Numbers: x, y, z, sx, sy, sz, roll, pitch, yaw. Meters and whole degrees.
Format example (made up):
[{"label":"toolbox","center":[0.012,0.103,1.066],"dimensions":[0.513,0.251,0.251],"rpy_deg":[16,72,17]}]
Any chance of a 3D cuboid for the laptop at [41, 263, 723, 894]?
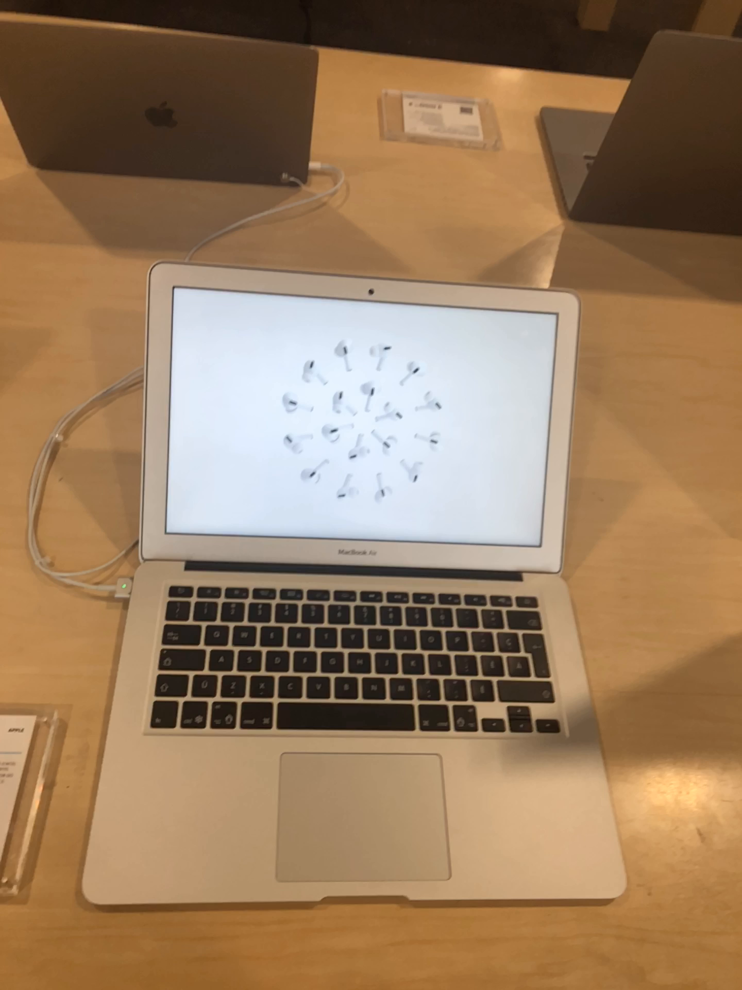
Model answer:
[{"label":"laptop","center":[-0.002,0.036,0.525],"dimensions":[0.302,0.137,0.371],"rpy_deg":[3,52,-7]}]
